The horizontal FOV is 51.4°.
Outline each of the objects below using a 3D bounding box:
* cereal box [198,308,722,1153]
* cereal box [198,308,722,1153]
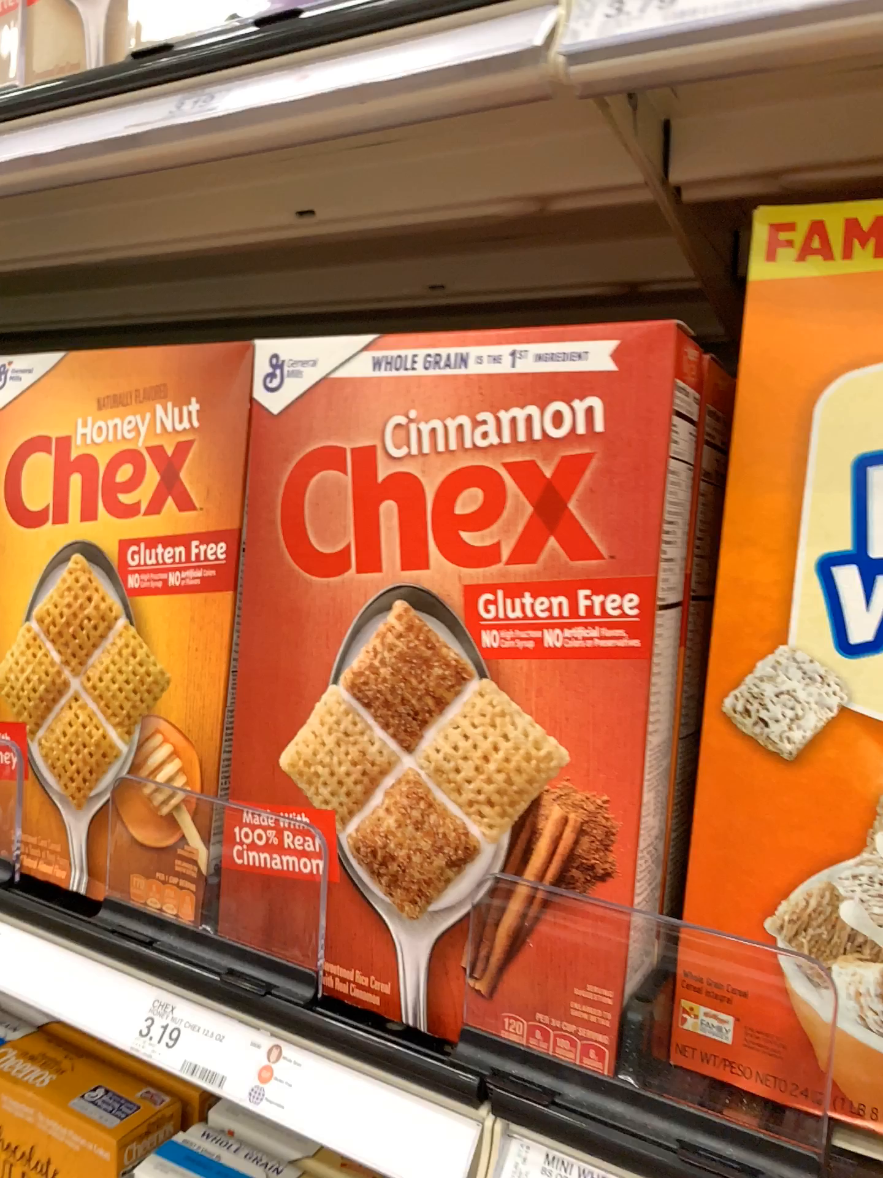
[{"bbox_3d":[-0.001,0.043,0.397,0.200,0.300,0.060,6,3,29],"label":"cereal box"},{"bbox_3d":[-0.001,0.043,0.397,0.200,0.300,0.060,6,3,29],"label":"cereal box"}]
